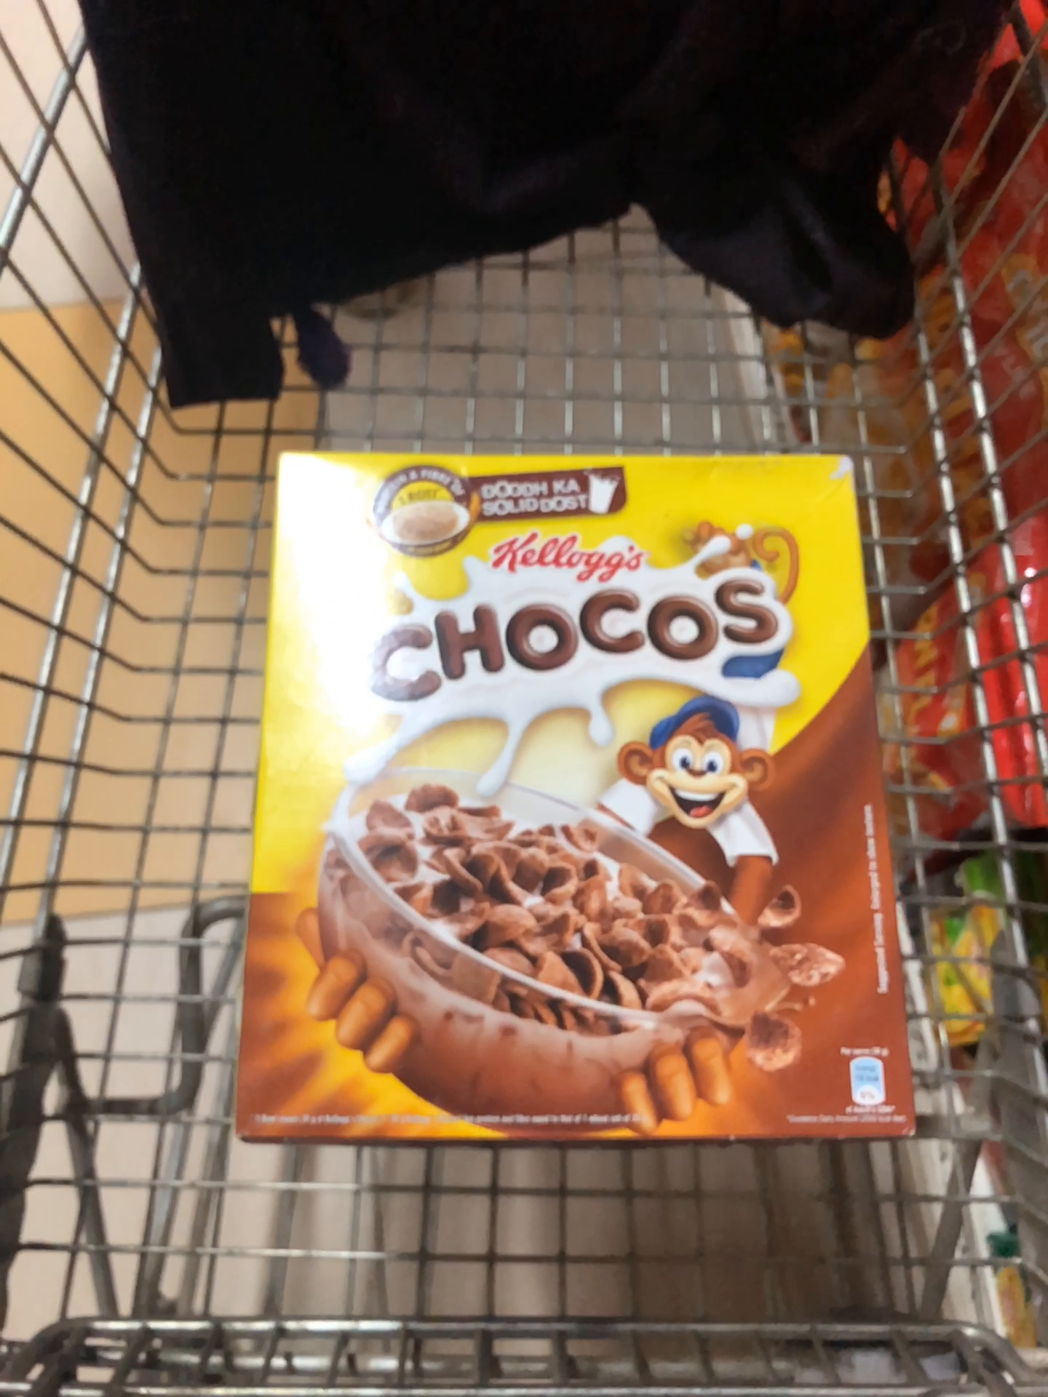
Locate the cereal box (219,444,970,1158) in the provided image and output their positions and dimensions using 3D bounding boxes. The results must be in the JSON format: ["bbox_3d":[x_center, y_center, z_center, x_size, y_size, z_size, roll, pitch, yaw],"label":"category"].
[{"bbox_3d":[0.017,0.028,0.342,0.180,0.070,0.190,0,74,0],"label":"cereal box"}]
